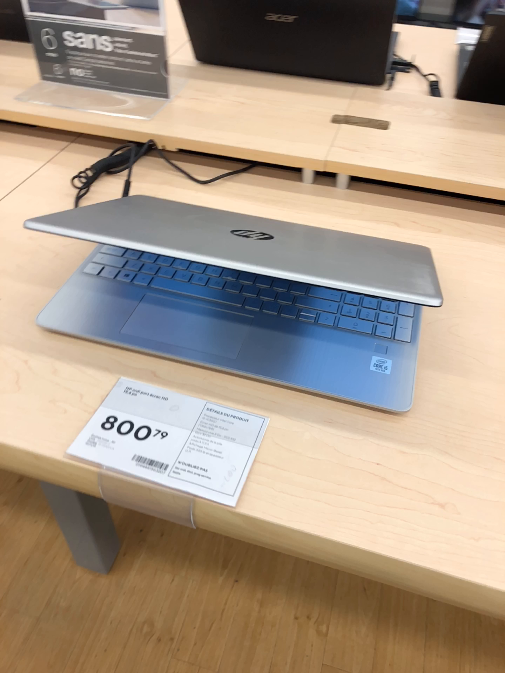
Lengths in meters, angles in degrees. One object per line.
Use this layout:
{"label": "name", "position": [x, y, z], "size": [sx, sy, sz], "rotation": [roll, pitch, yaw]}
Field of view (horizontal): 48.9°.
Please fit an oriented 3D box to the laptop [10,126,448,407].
{"label": "laptop", "position": [-0.004, -0.085, 0.532], "size": [0.340, 0.086, 0.224], "rotation": [13, 47, 10]}
